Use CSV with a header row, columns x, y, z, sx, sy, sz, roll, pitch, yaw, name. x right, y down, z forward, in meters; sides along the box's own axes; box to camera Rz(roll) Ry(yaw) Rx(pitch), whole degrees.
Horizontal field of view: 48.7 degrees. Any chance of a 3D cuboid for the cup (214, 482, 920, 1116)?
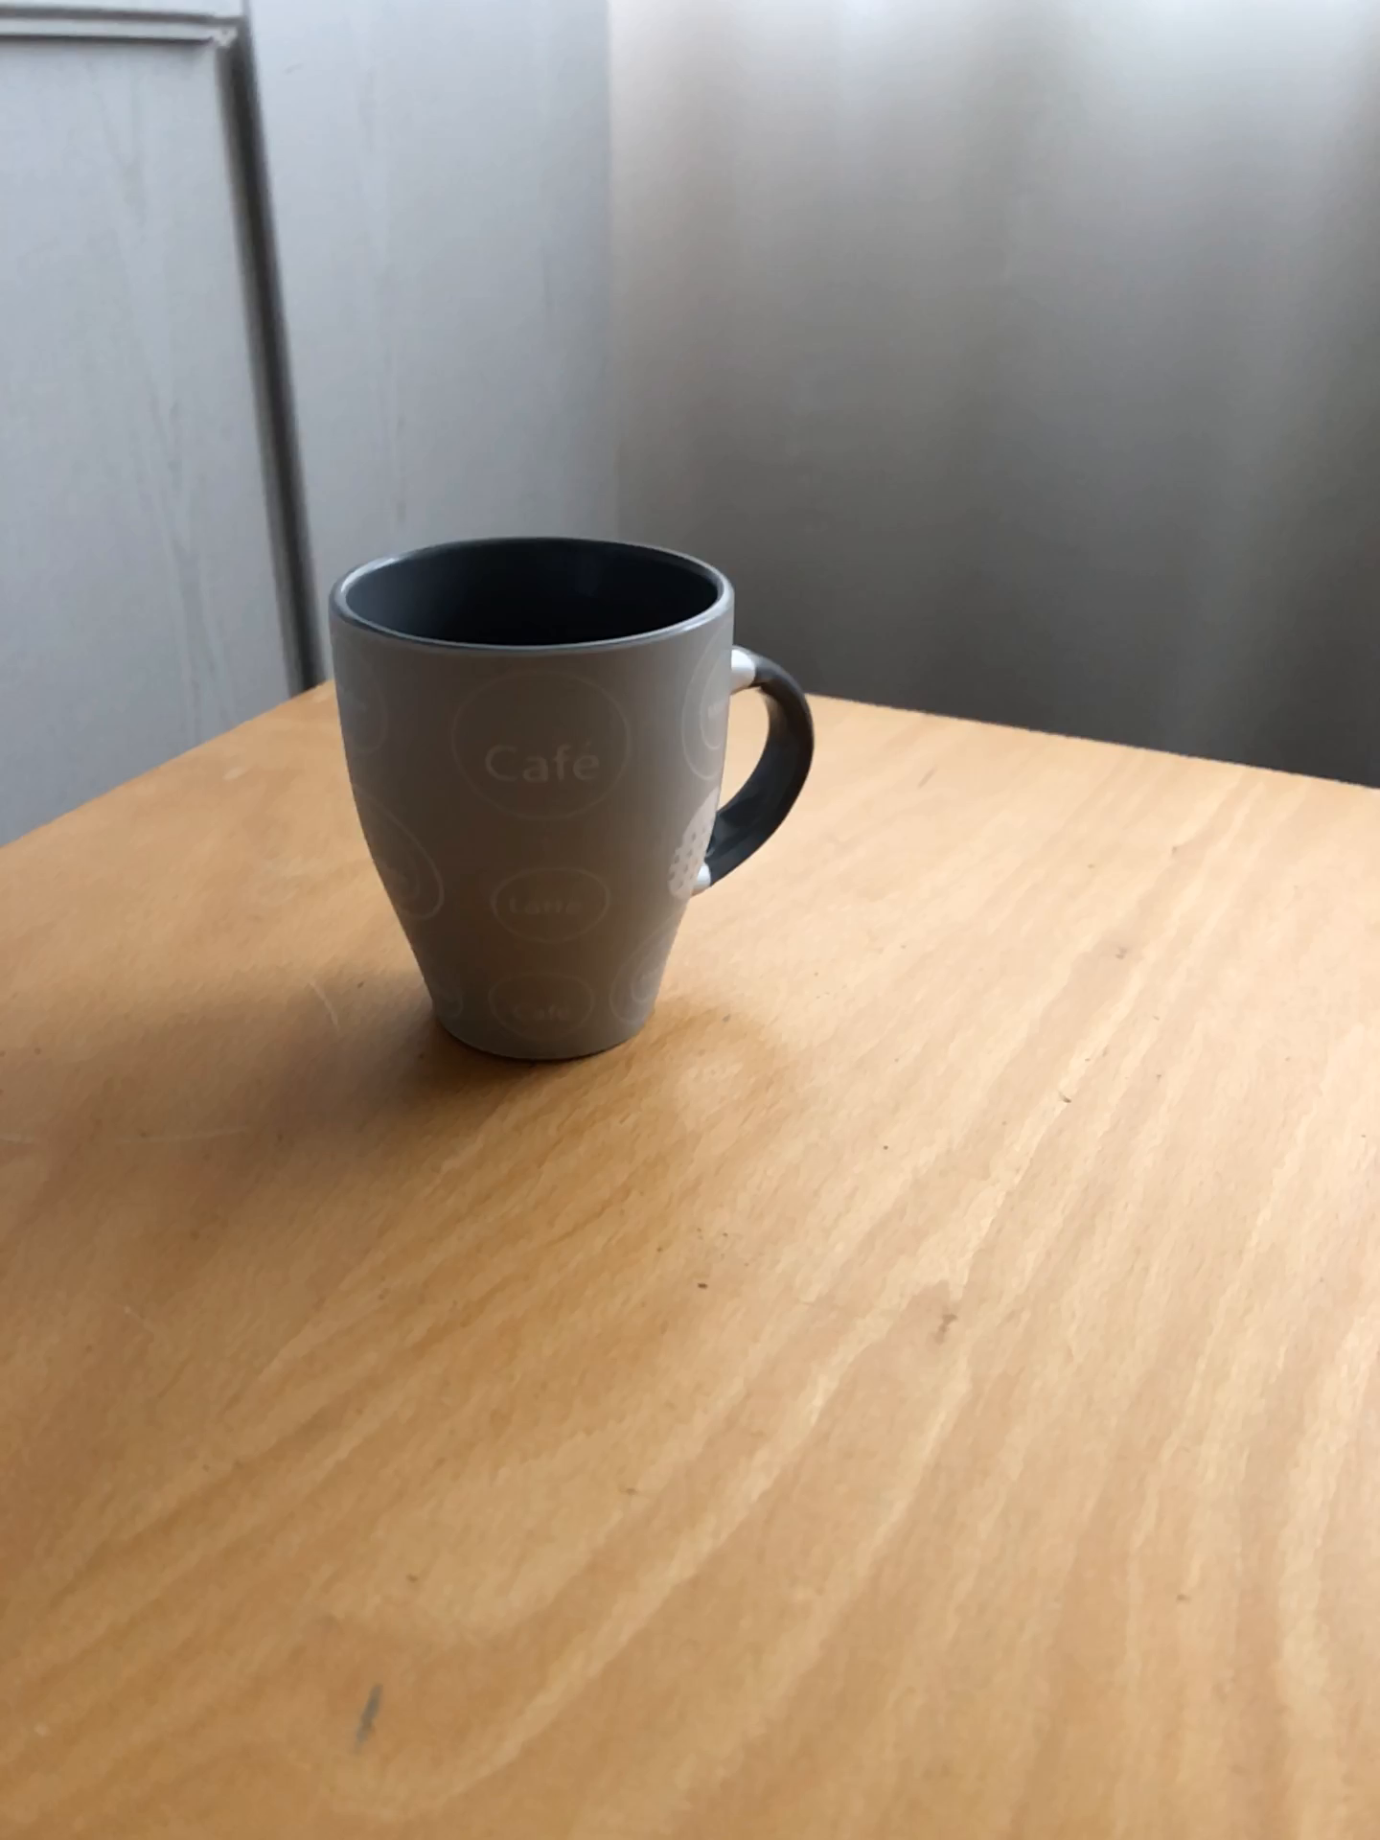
x,y,z,sx,sy,sz,roll,pitch,yaw,name
-0.024,-0.037,0.348,0.127,0.093,0.085,-24,36,-38,cup
